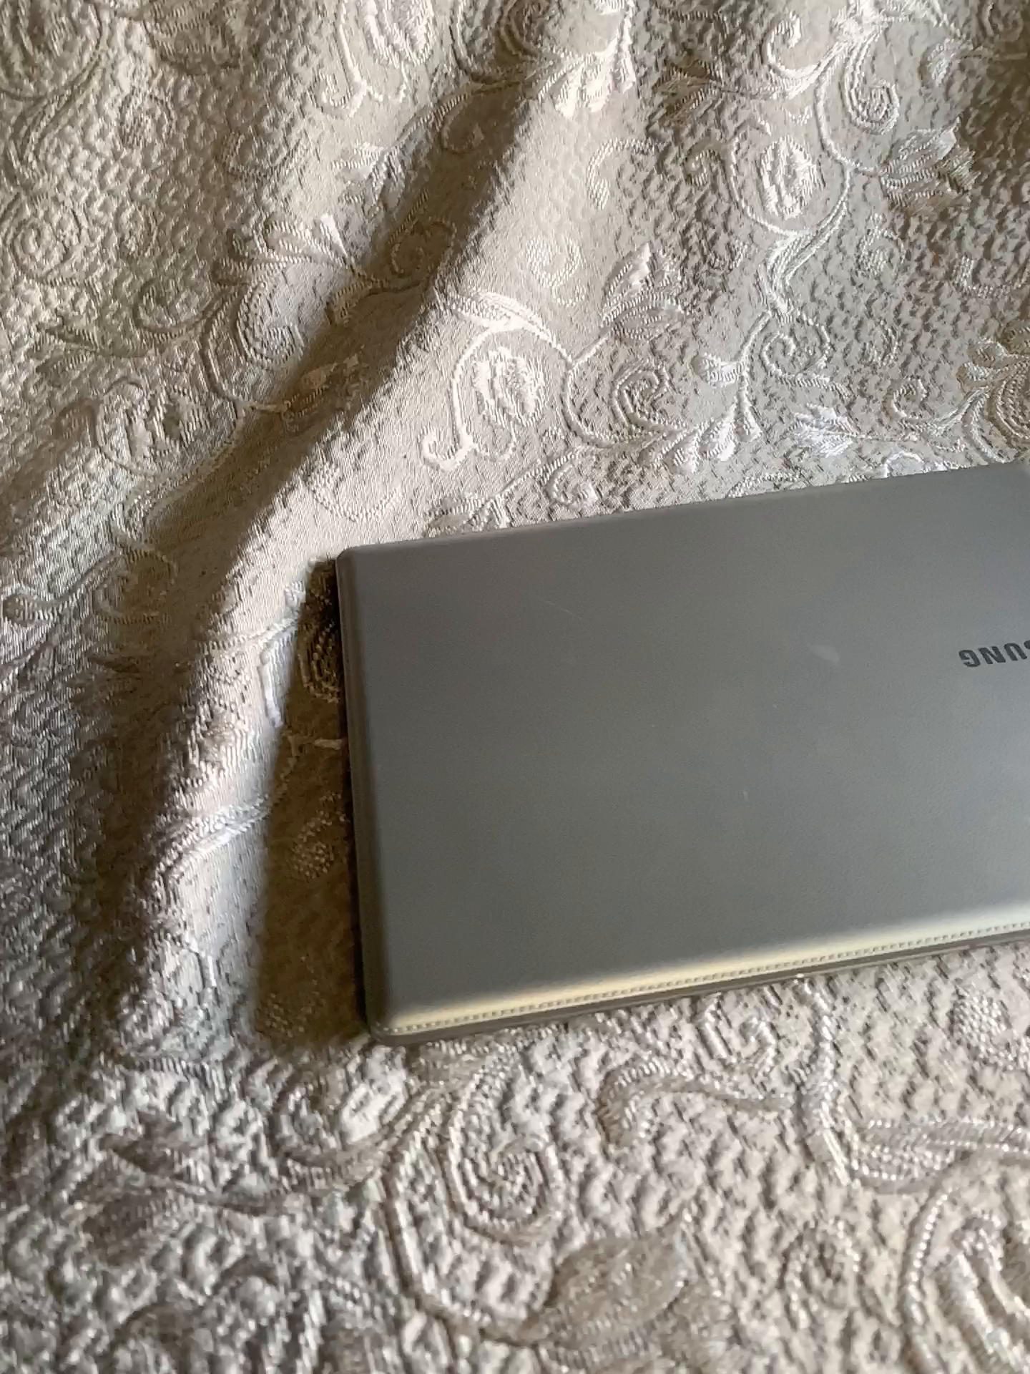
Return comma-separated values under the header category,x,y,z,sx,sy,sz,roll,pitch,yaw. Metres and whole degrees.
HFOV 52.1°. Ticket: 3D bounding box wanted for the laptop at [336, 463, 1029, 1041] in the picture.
category,x,y,z,sx,sy,sz,roll,pitch,yaw
laptop,0.082,0.003,0.337,0.264,0.005,0.176,-8,52,-6
